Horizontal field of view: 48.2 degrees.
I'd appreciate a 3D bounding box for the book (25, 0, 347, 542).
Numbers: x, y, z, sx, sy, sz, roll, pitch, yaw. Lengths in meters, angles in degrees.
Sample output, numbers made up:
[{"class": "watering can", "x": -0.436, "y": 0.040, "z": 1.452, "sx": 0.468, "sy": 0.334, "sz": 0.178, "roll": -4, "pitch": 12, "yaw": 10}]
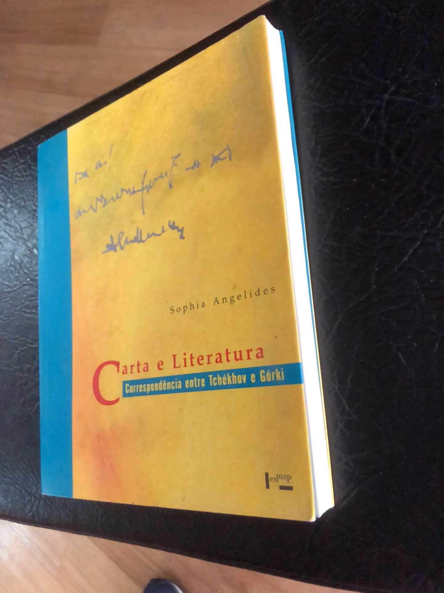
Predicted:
[{"class": "book", "x": -0.037, "y": -0.005, "z": 0.244, "sx": 0.173, "sy": 0.024, "sz": 0.208, "roll": -12, "pitch": 77, "yaw": 36}]
